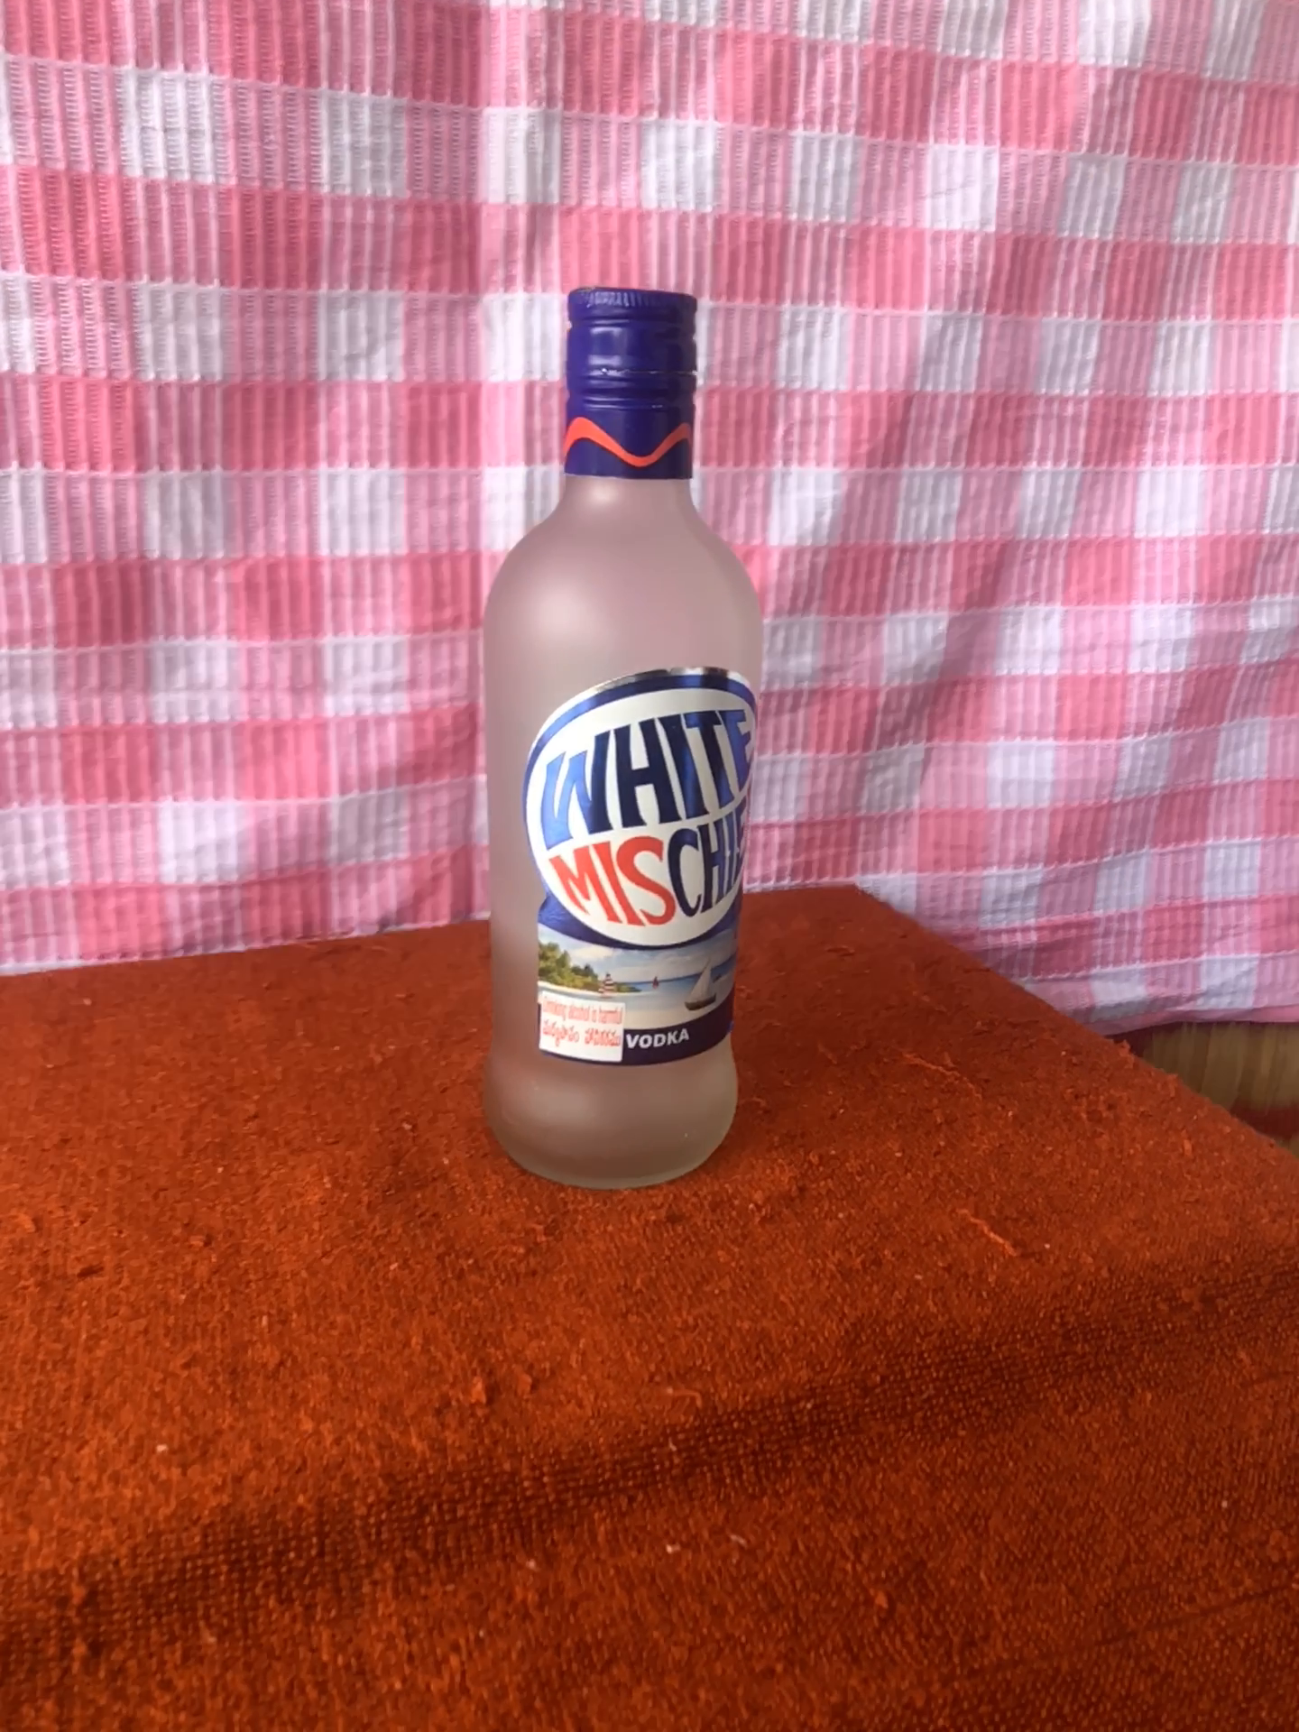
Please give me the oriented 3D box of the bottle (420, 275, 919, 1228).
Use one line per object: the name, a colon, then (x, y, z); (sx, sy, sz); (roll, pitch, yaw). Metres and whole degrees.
bottle: (-0.004, -0.027, 0.336); (0.080, 0.199, 0.070); (-4, 21, -22)
